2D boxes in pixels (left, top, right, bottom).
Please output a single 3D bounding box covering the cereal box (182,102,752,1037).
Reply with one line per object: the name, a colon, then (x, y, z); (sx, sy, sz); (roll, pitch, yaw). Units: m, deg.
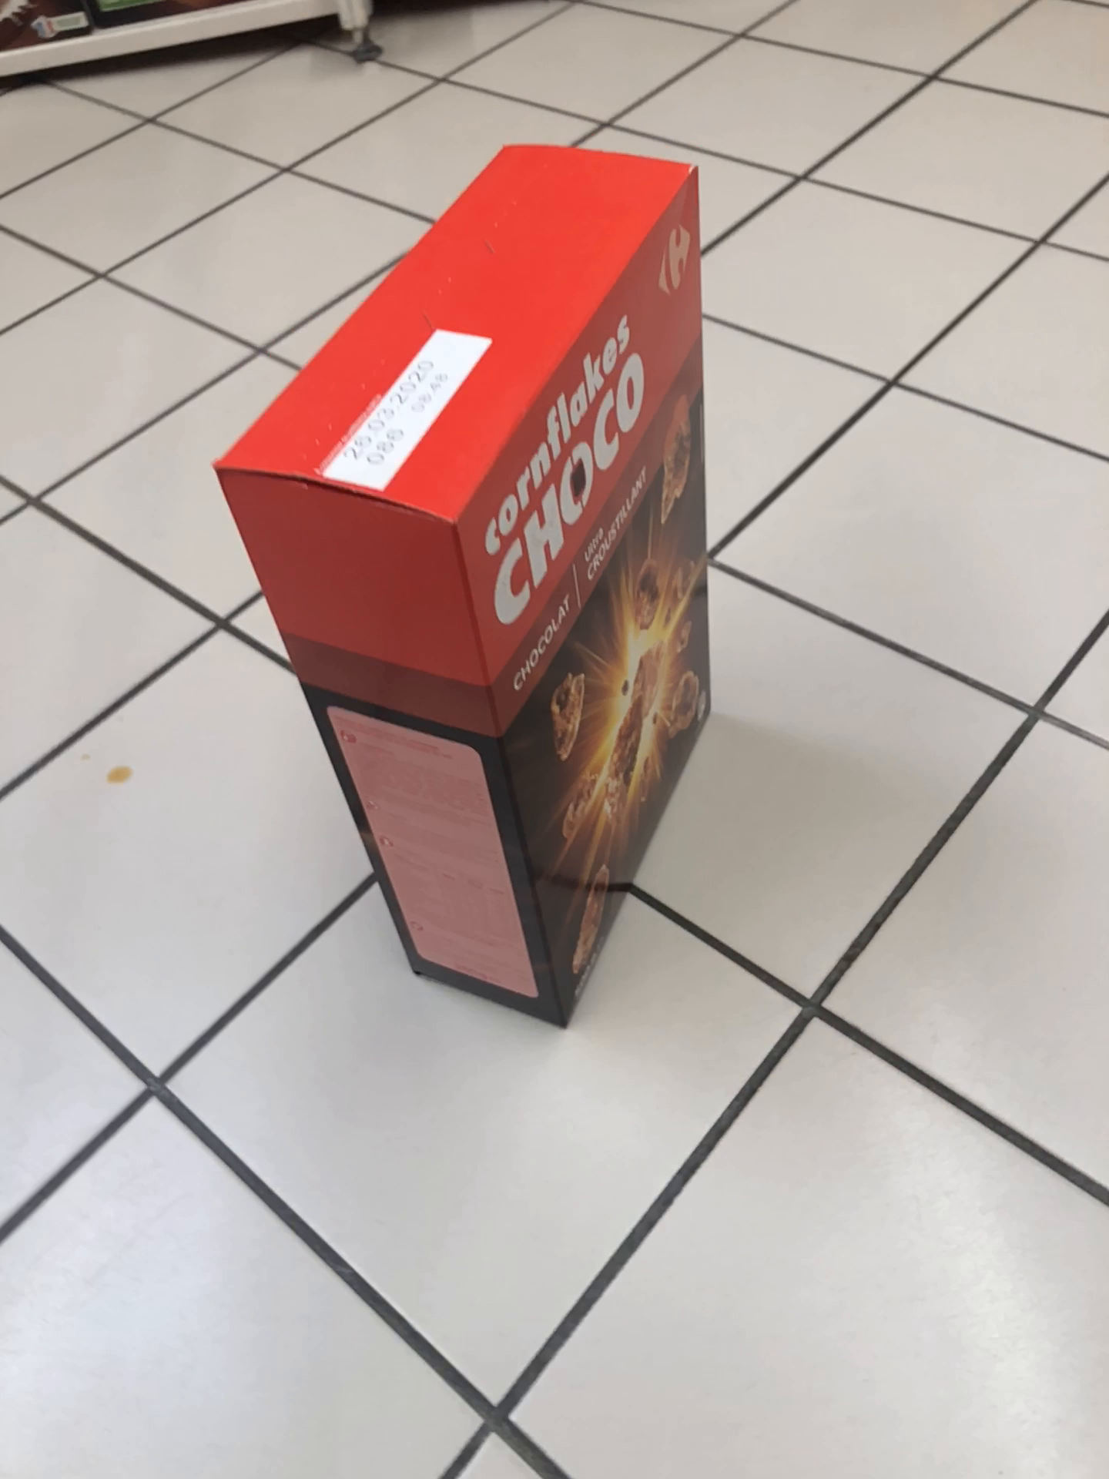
cereal box: (-0.001, -0.051, 0.467); (0.090, 0.279, 0.201); (15, 54, 19)
